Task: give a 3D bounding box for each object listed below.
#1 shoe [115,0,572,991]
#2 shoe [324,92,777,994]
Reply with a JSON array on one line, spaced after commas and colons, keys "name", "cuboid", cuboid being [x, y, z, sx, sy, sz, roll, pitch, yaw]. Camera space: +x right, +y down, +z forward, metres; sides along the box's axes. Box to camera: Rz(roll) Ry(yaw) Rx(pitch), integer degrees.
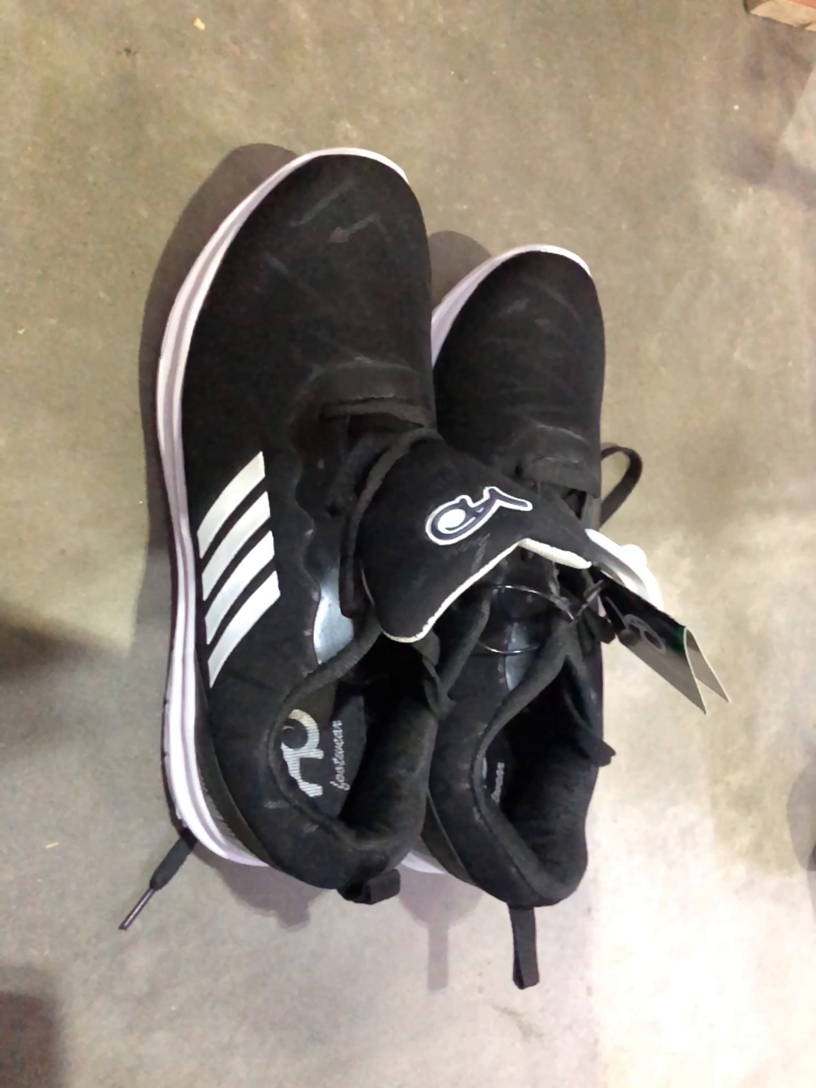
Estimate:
[{"name": "shoe", "cuboid": [-0.027, -0.030, 0.356, 0.120, 0.130, 0.330, 5, 84, -32]}, {"name": "shoe", "cuboid": [0.062, 0.001, 0.398, 0.110, 0.130, 0.320, 12, 81, -31]}]
